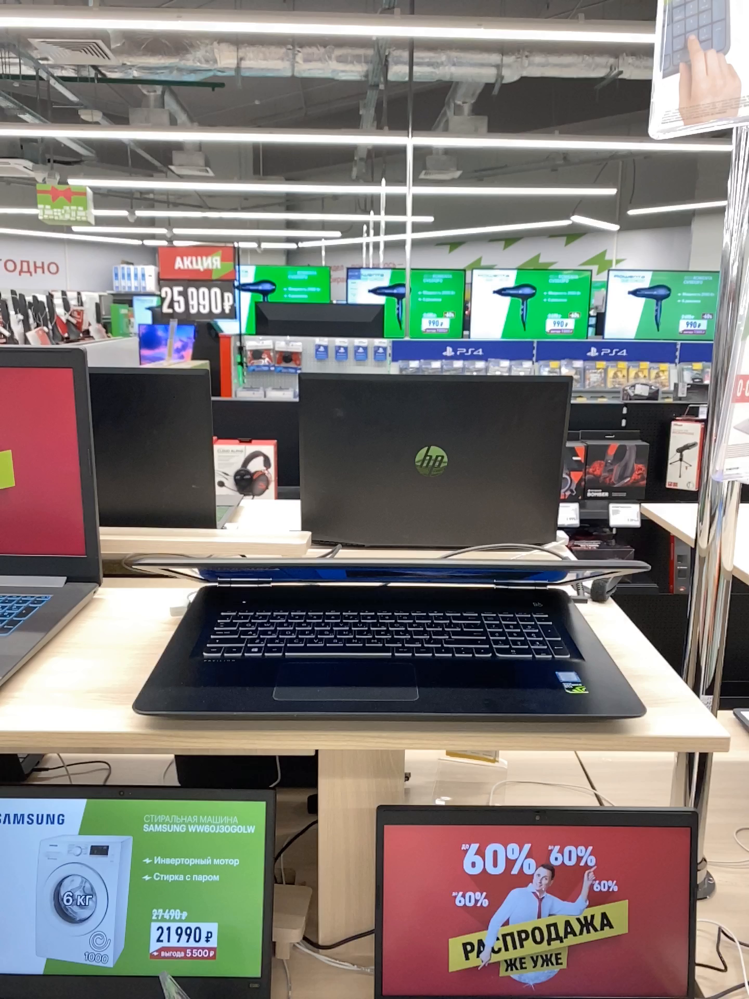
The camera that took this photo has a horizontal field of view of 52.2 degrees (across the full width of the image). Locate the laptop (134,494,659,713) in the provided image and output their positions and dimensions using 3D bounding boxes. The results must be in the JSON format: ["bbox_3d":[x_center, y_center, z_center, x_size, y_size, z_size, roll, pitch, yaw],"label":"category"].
[{"bbox_3d":[0.012,0.080,0.714,0.396,0.103,0.264,1,14,0],"label":"laptop"}]
